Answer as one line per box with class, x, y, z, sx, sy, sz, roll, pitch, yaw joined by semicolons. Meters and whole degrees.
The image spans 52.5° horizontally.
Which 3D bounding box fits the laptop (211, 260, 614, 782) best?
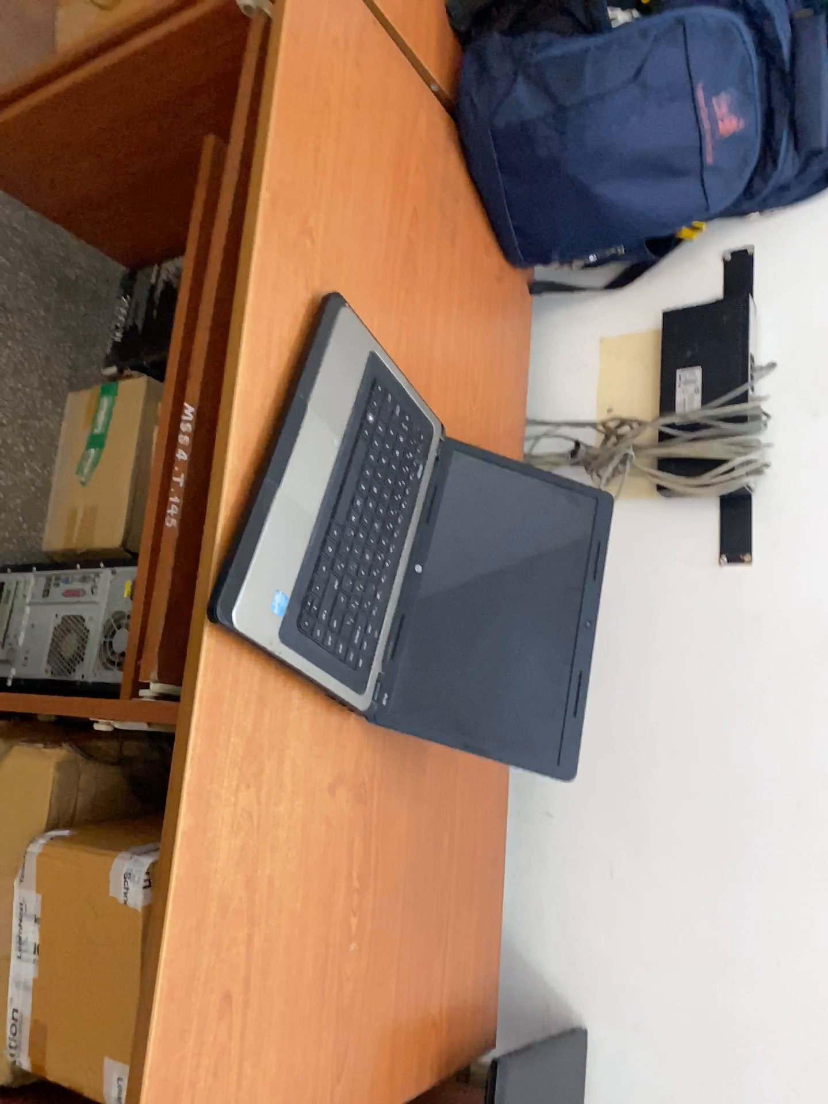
laptop;0.046;-0.007;0.916;0.428;0.158;0.383;45;51;-45
